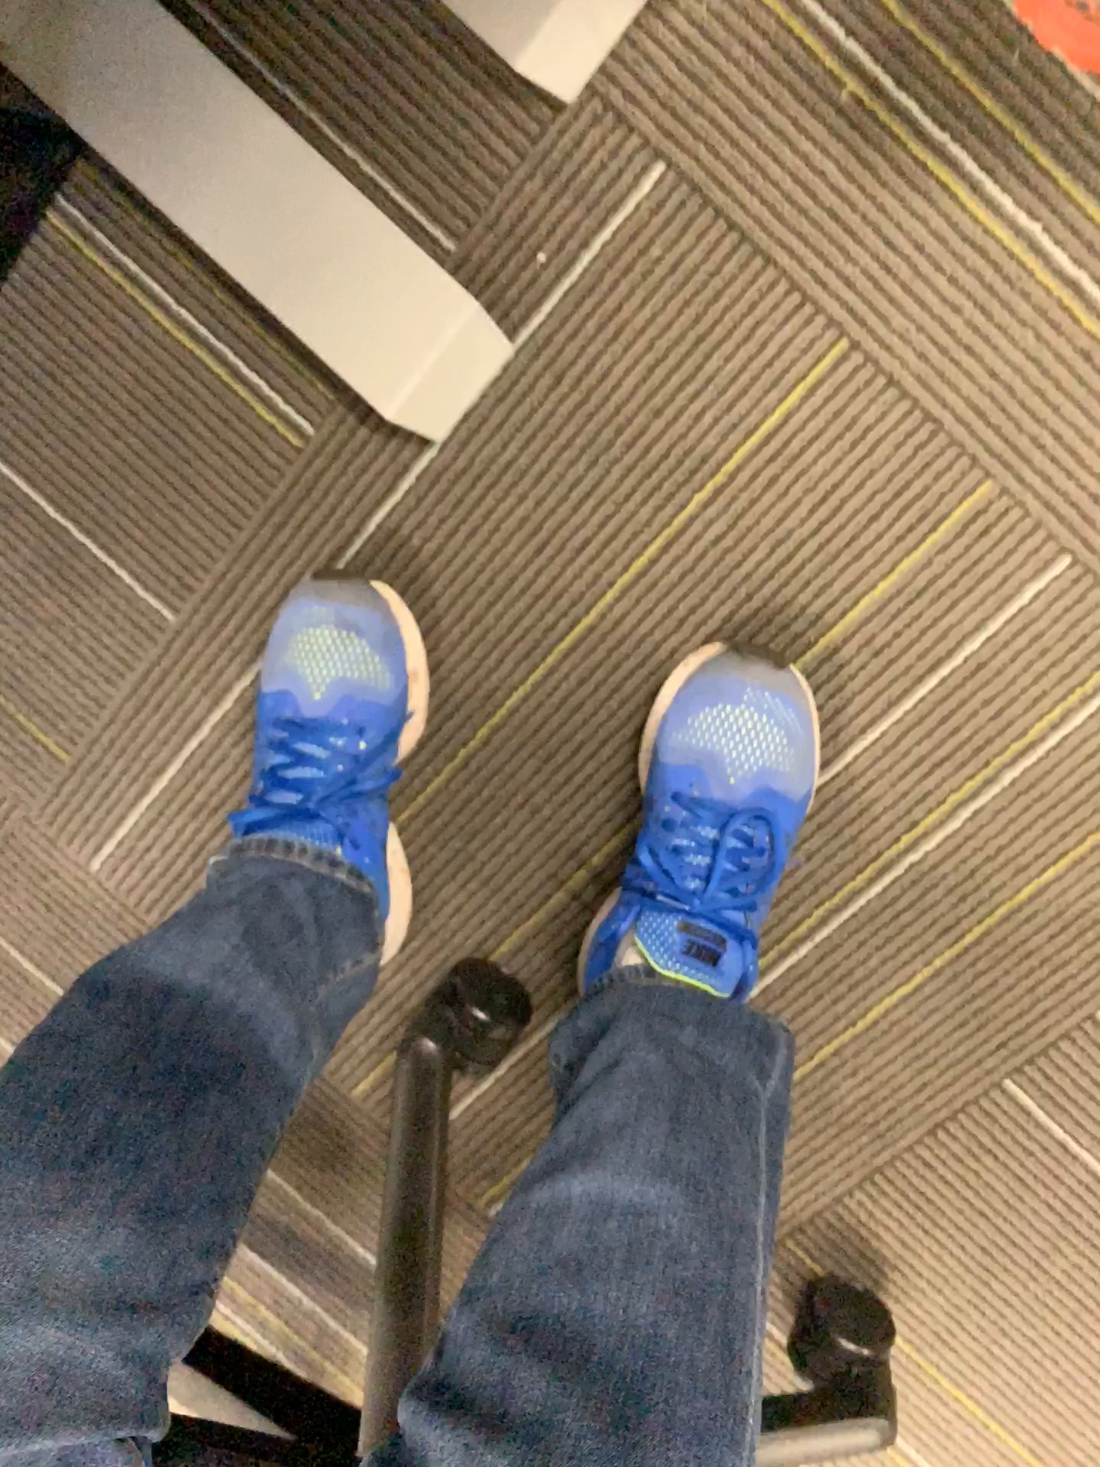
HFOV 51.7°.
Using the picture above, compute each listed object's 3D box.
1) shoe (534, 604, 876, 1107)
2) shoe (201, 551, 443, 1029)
[{"bbox_3d":[0.090,0.076,0.704,0.117,0.083,0.279,18,110,5],"label":"shoe"},{"bbox_3d":[-0.148,0.036,0.727,0.116,0.083,0.279,10,109,8],"label":"shoe"}]
